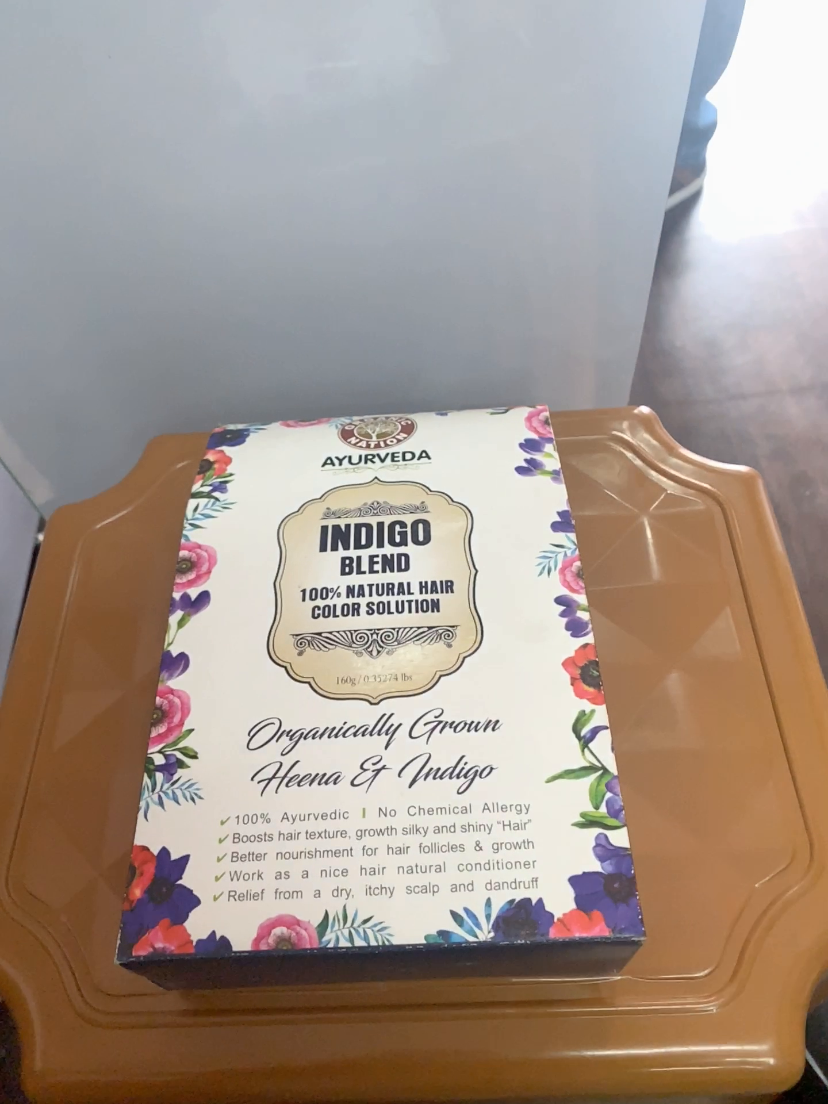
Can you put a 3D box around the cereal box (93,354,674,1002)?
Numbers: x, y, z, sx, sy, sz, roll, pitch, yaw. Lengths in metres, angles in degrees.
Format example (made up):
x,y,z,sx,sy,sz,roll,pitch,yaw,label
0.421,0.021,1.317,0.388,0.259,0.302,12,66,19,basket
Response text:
x,y,z,sx,sy,sz,roll,pitch,yaw,label
-0.009,0.033,0.292,0.140,0.070,0.200,-4,55,3,cereal box
